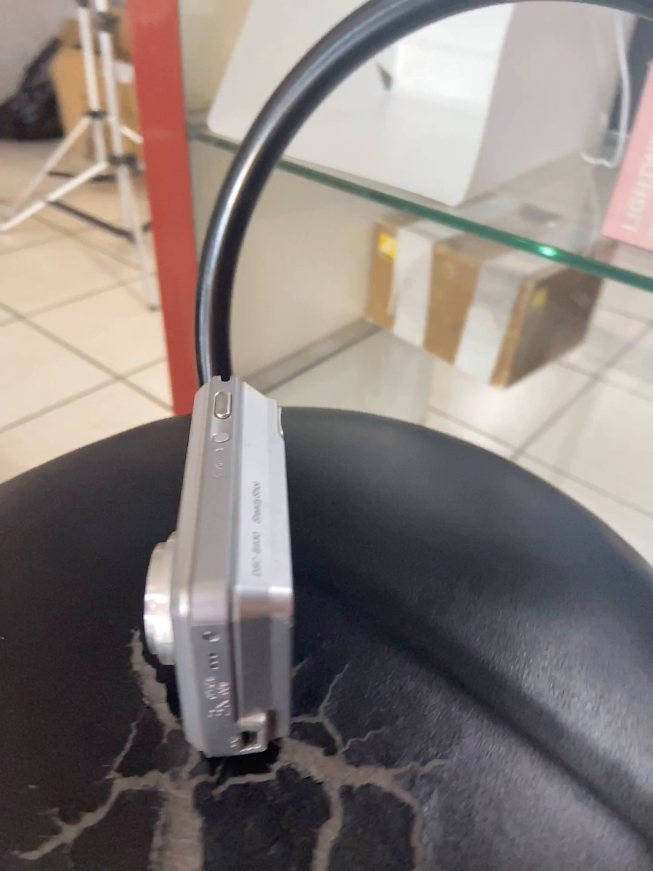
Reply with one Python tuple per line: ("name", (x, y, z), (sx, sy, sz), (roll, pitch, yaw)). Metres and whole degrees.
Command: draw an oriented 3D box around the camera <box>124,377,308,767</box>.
("camera", (-0.026, 0.031, 0.182), (0.035, 0.057, 0.083), (0, 36, -6))
